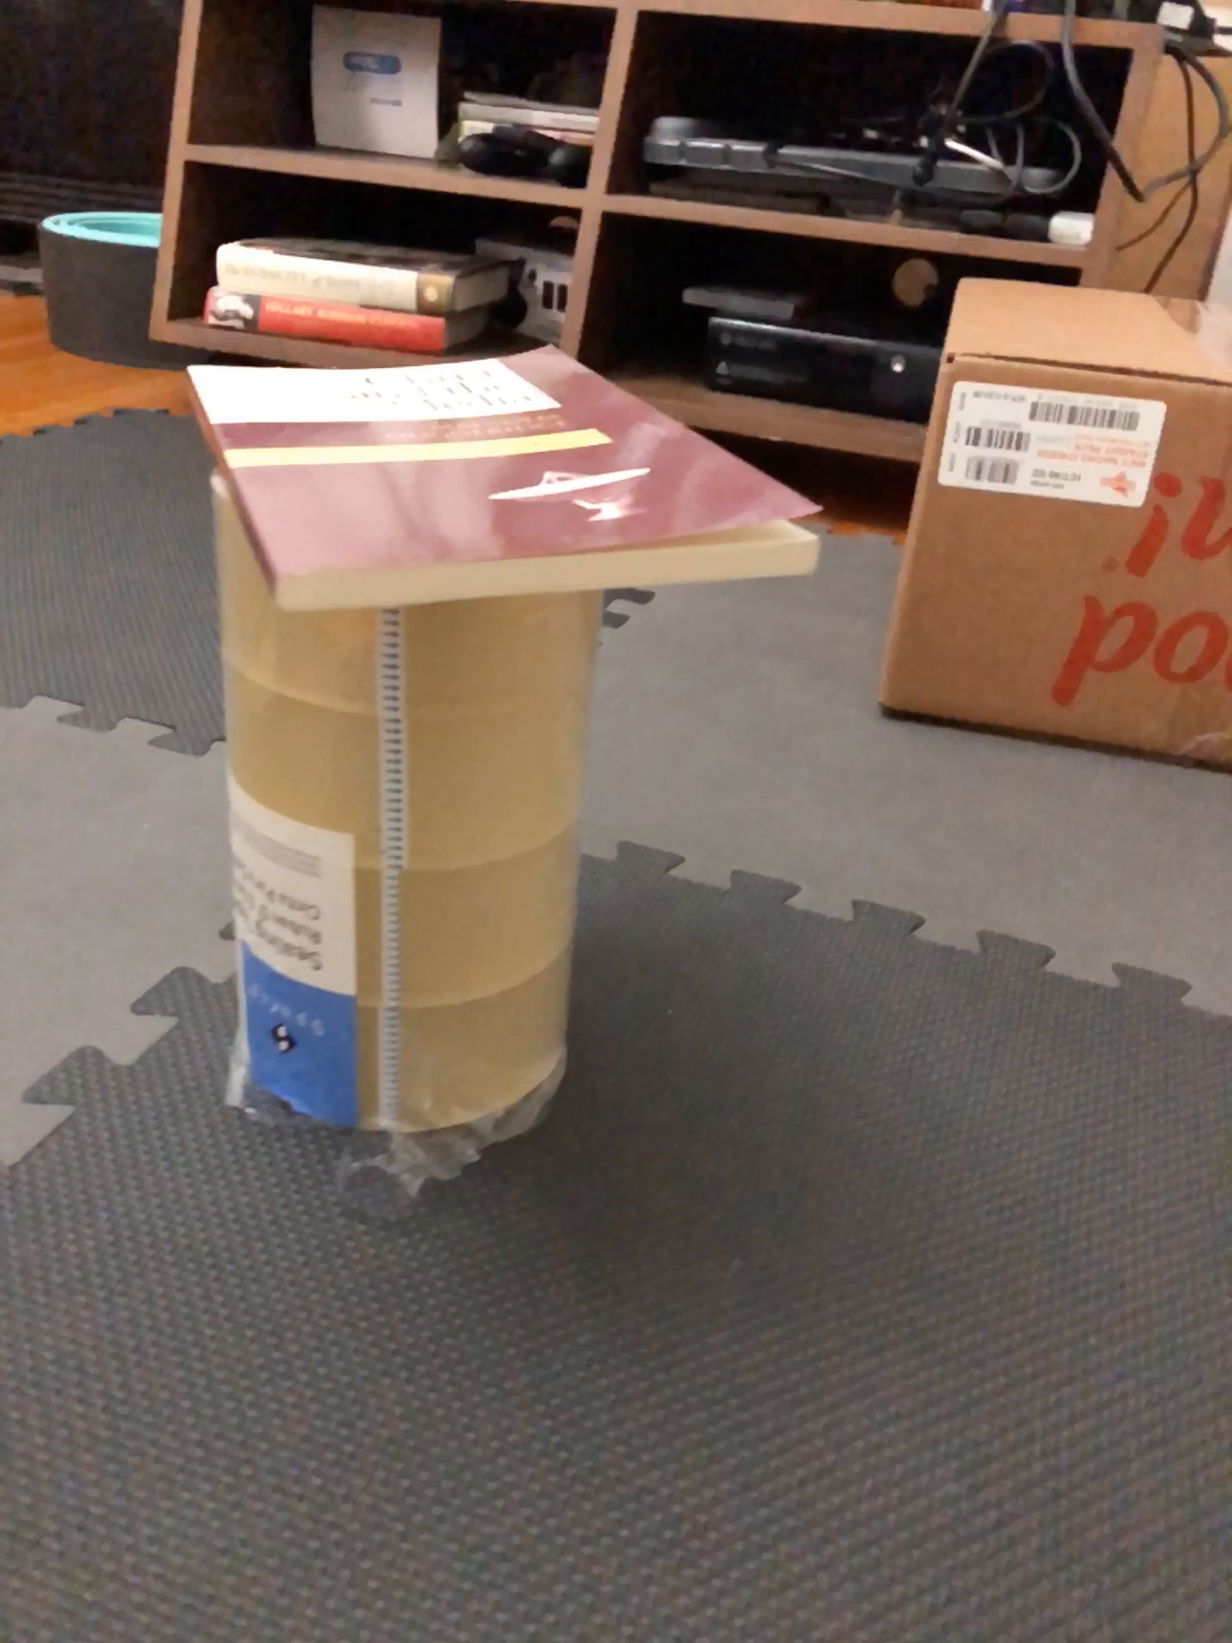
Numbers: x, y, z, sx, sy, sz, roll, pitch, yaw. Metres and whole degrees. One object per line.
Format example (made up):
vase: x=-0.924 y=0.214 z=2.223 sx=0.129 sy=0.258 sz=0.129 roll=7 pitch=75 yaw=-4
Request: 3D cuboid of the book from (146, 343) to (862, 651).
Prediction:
book: x=-0.047 y=-0.102 z=0.381 sx=0.140 sy=0.020 sz=0.211 roll=-7 pitch=32 yaw=-22
